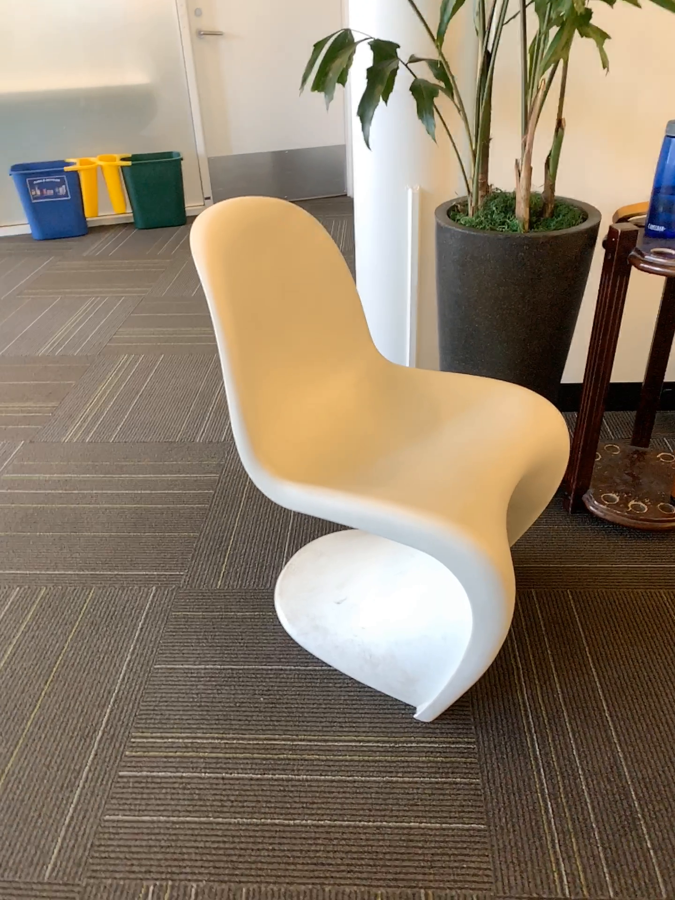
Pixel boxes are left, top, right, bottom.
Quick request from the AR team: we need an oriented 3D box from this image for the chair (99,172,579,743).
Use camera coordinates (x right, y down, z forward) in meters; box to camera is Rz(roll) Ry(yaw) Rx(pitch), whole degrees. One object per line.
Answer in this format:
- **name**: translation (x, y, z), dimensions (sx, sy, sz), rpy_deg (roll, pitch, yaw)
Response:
- **chair**: translation (0.069, -0.029, 1.255), dimensions (0.581, 0.775, 0.603), rpy_deg (7, 34, 14)
